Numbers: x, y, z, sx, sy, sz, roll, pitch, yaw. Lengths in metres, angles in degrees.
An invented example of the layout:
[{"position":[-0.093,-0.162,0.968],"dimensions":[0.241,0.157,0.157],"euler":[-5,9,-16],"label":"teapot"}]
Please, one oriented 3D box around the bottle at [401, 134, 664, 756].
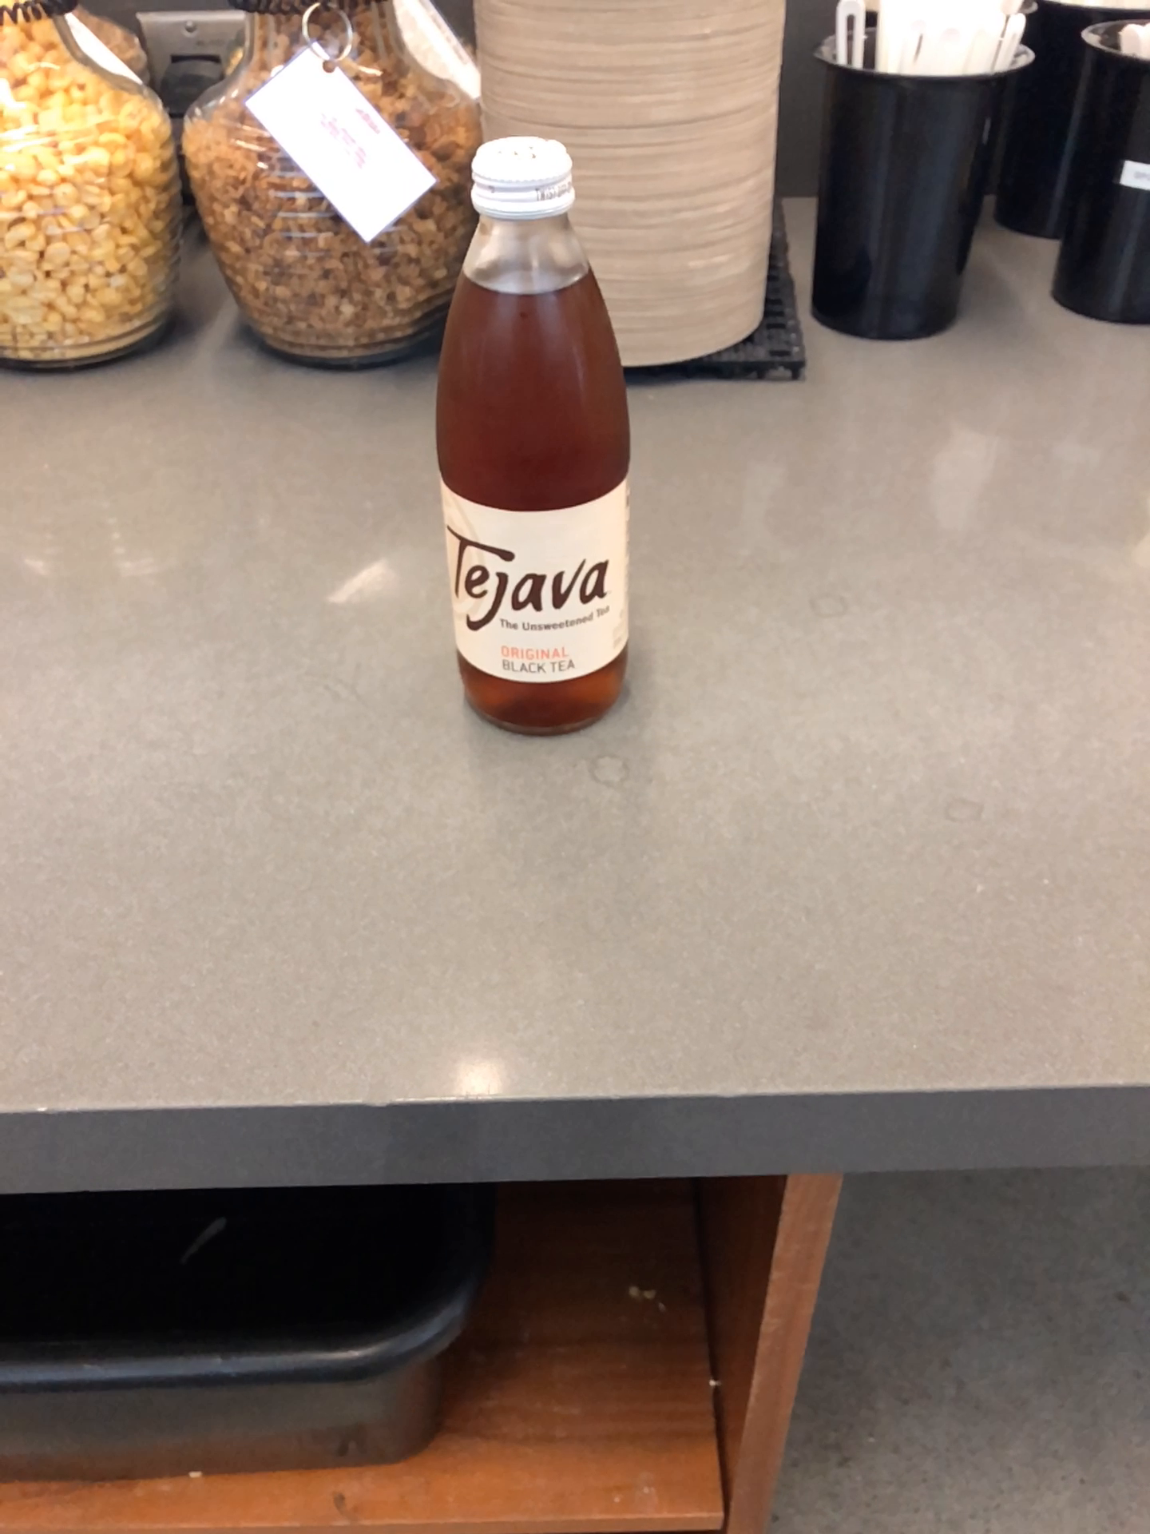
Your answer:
[{"position":[-0.011,-0.099,0.429],"dimensions":[0.070,0.189,0.070],"euler":[0,40,0],"label":"bottle"}]
